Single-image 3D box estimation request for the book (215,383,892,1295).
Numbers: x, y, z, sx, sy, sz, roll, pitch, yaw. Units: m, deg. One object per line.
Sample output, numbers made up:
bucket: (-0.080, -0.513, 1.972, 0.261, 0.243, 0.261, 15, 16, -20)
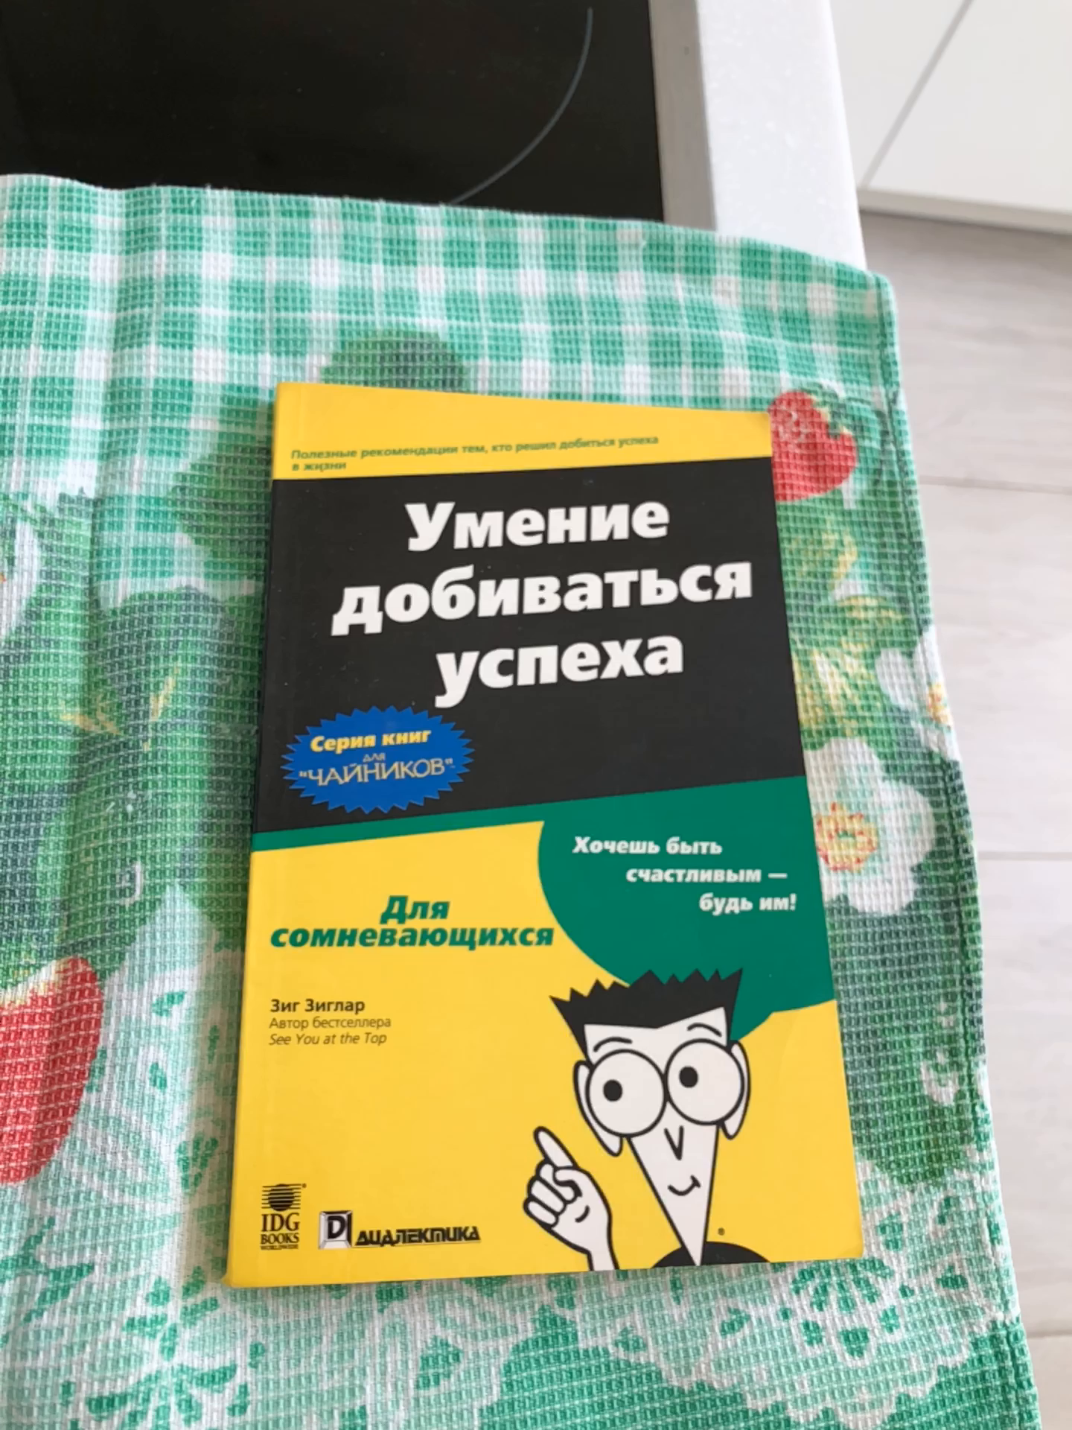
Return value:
book: (0.002, 0.015, 0.235, 0.113, 0.017, 0.172, 1, 70, -7)
